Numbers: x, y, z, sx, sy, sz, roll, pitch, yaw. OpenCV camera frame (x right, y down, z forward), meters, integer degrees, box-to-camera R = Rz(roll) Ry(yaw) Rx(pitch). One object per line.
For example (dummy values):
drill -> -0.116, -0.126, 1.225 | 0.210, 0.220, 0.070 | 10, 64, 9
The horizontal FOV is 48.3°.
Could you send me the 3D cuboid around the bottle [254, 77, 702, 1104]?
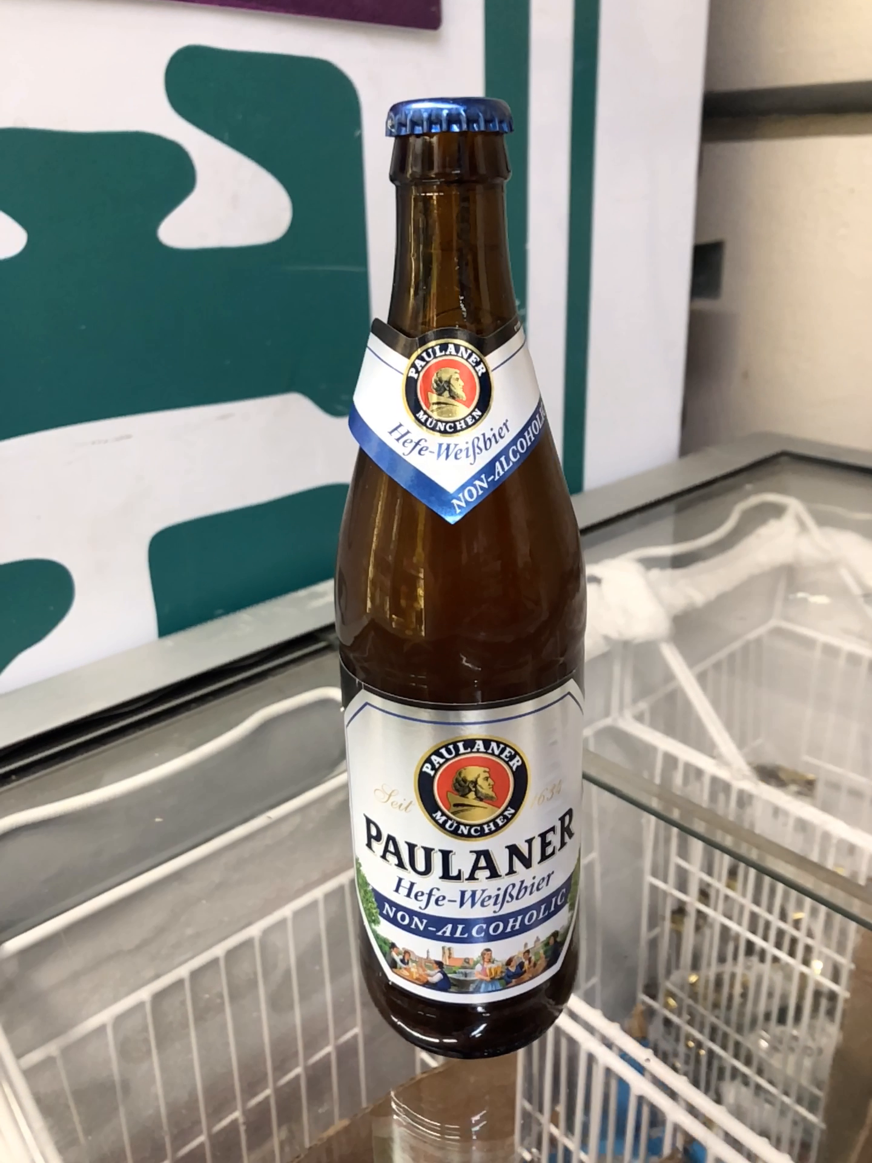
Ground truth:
bottle -> 0.011, 0.013, 0.252 | 0.080, 0.248, 0.070 | -1, 22, 2
